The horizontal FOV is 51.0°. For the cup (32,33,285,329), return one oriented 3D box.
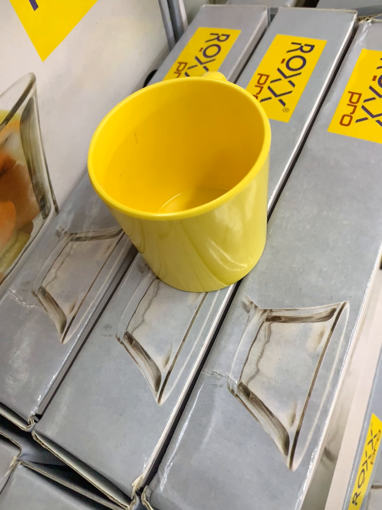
[{"bbox_3d":[-0.001,-0.034,0.185,0.070,0.080,0.100,9,60,16],"label":"cup"}]
